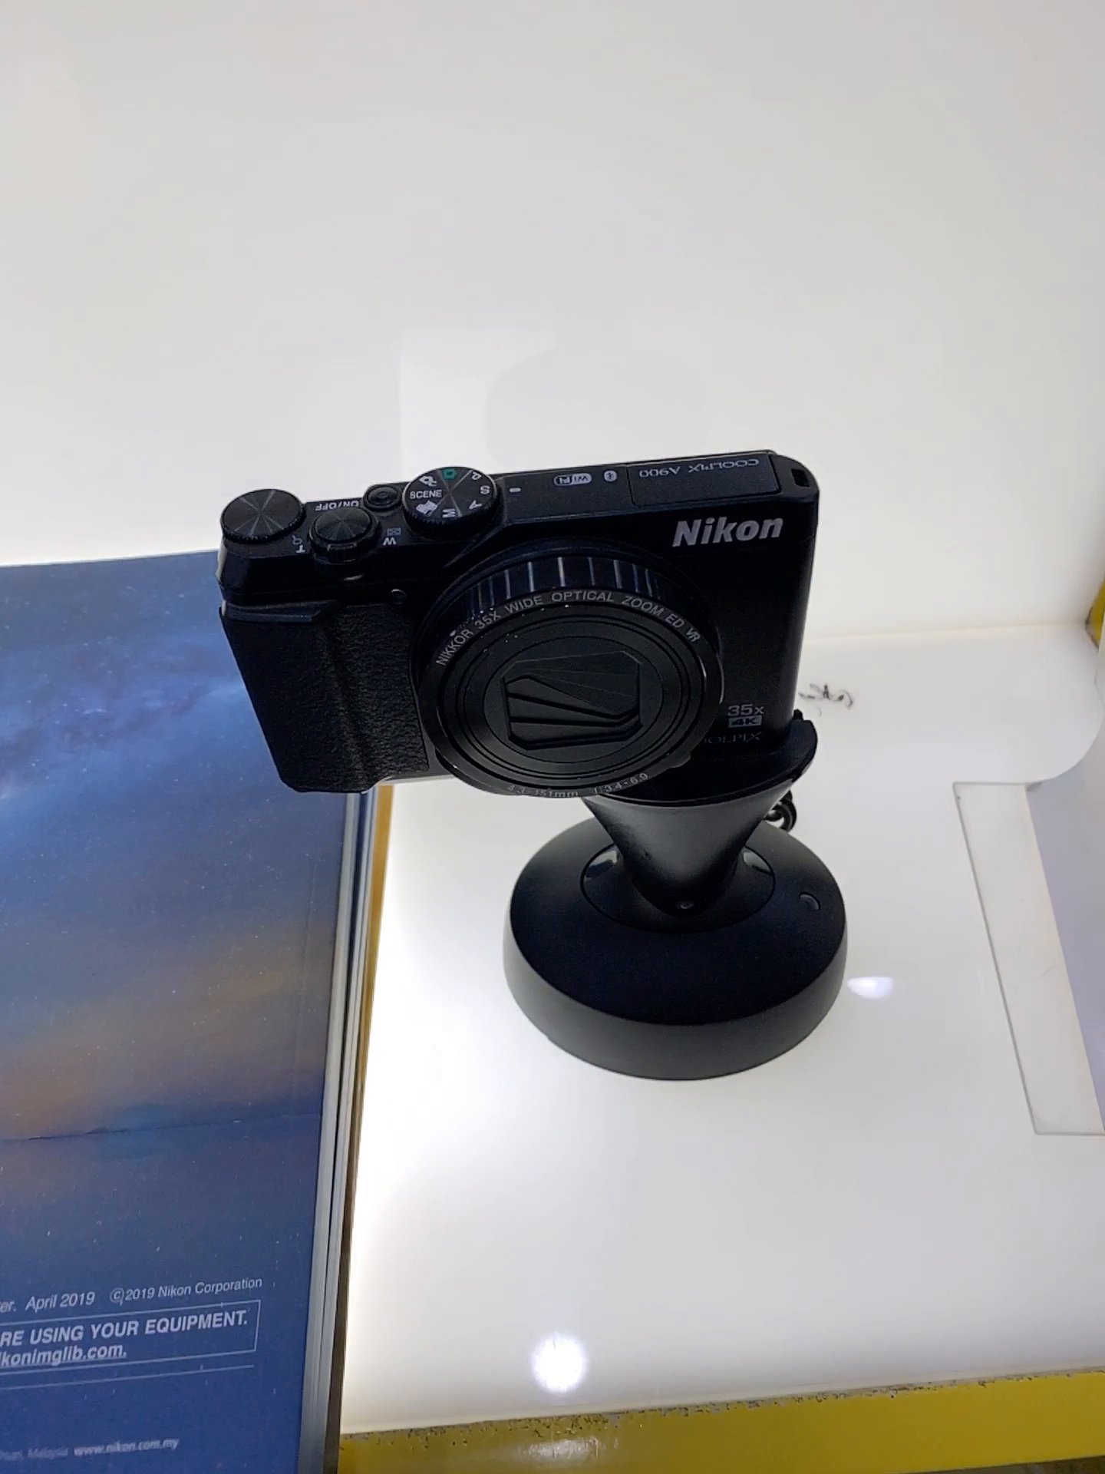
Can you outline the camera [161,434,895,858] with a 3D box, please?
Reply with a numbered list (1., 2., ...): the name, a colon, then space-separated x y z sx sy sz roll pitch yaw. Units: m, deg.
1. camera: -0.004 -0.017 0.222 0.120 0.060 0.040 -6 48 -3
